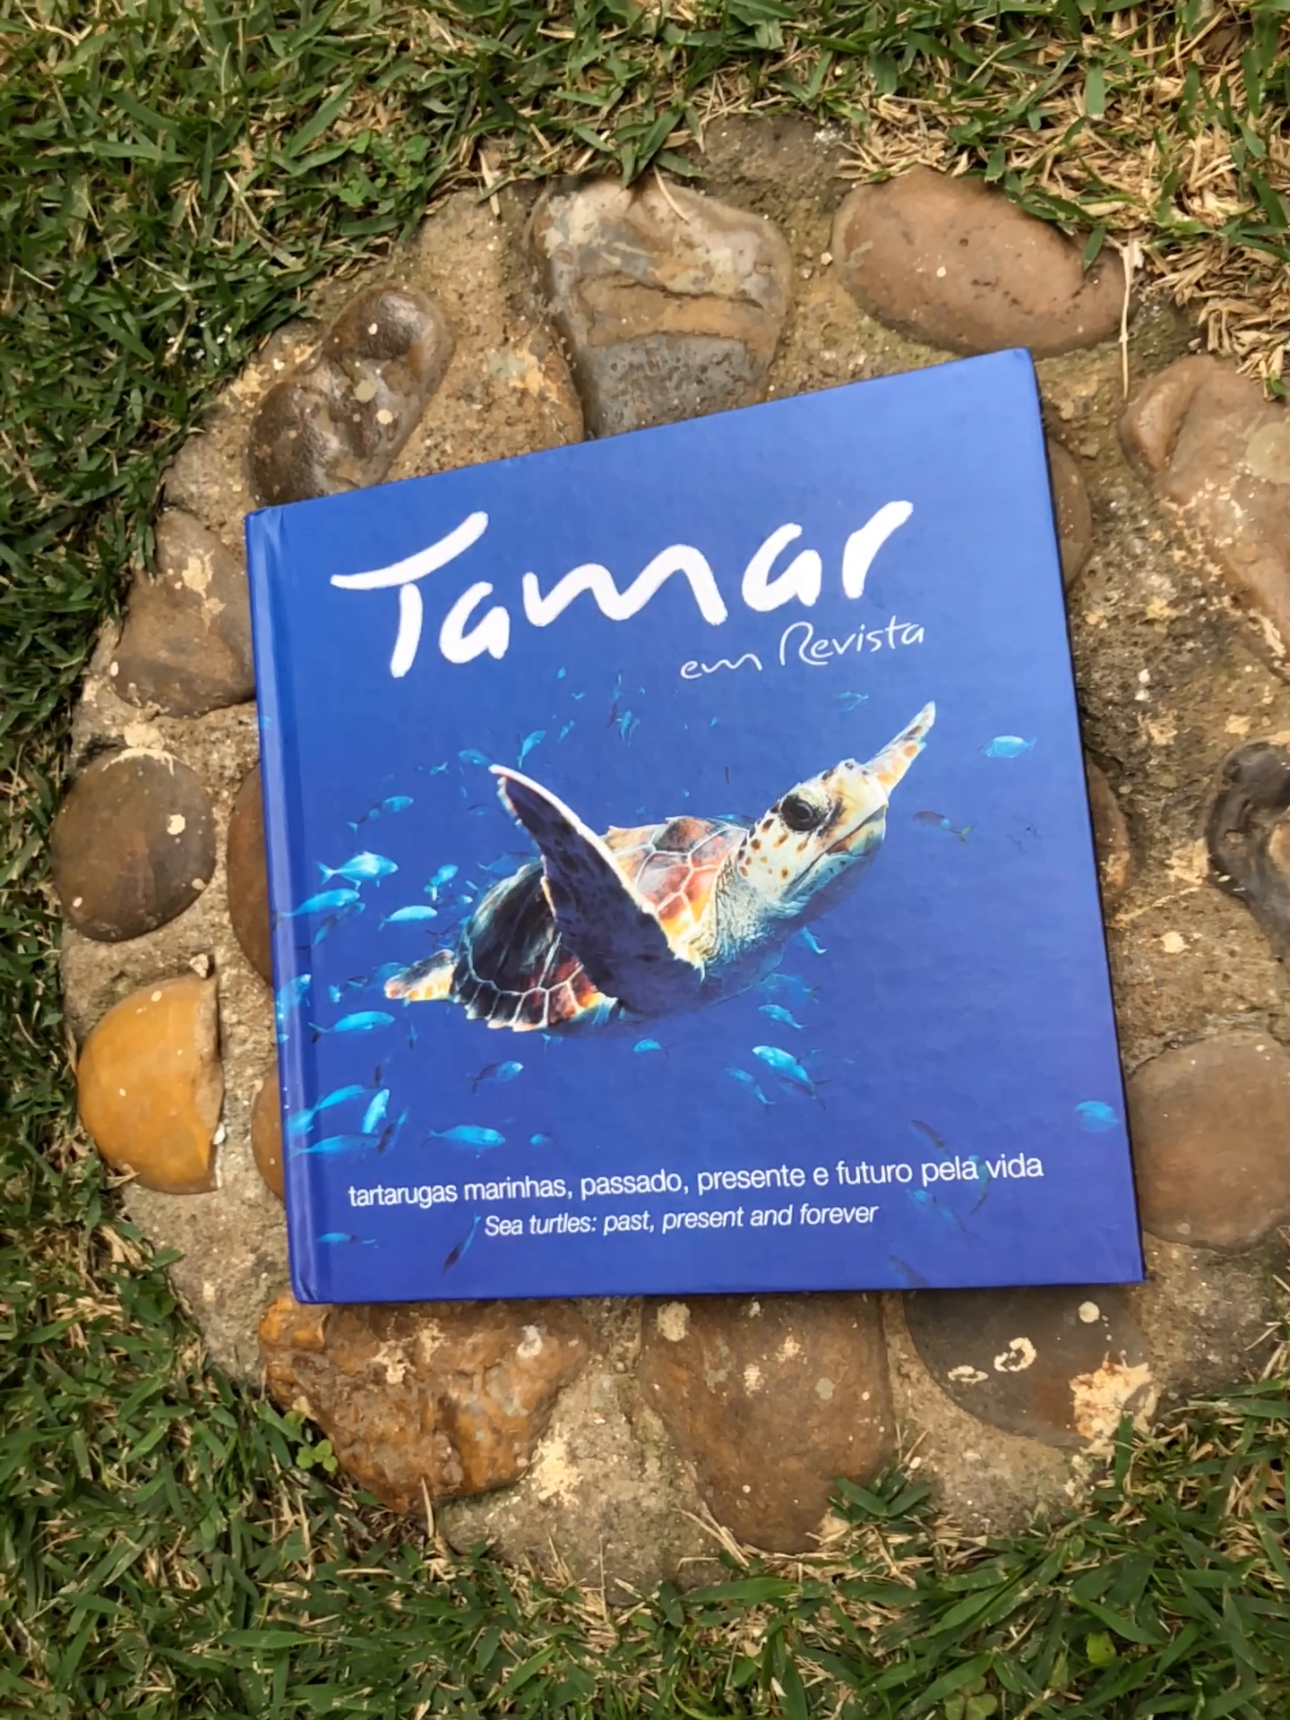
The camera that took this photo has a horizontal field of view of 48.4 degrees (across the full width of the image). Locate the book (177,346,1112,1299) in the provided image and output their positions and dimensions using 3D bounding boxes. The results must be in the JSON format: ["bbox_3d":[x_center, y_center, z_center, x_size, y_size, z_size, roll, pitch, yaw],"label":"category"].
[{"bbox_3d":[-0.009,0.000,0.287,0.179,0.020,0.166,-6,84,18],"label":"book"}]
